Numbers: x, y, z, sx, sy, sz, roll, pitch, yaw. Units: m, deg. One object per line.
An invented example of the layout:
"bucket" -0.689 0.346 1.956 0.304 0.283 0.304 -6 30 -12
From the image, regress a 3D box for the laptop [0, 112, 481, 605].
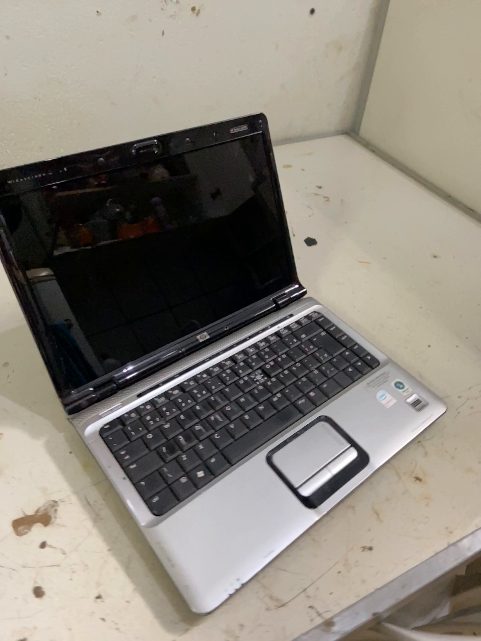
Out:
"laptop" 0.008 -0.016 0.473 0.322 0.193 0.334 -26 52 -30
